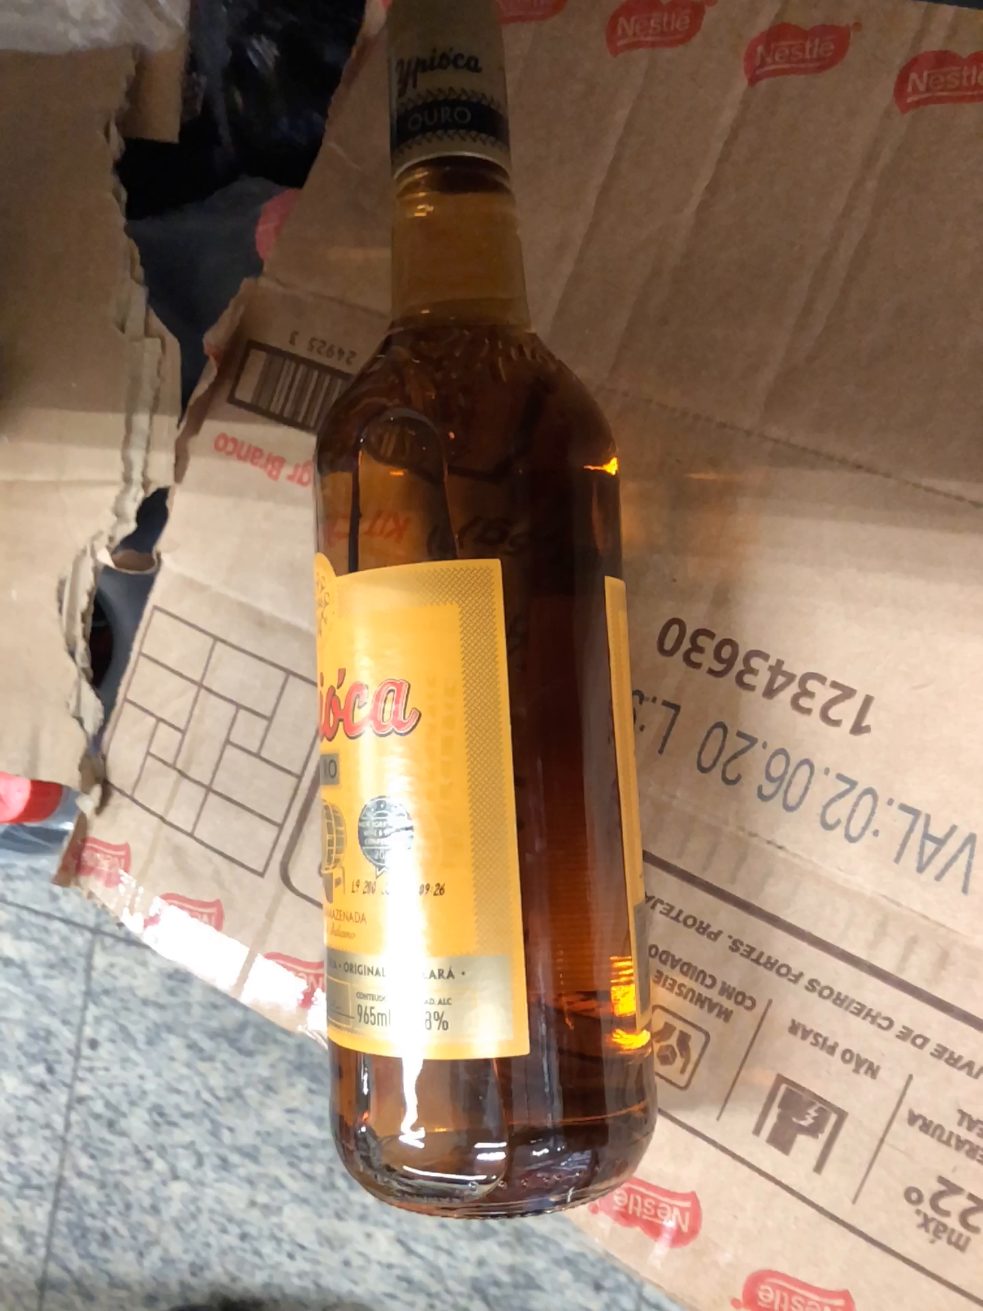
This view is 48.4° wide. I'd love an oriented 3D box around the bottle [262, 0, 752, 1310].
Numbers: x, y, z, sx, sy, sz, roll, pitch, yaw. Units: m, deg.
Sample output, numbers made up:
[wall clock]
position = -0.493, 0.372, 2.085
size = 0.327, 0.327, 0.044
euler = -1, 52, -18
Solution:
[bottle]
position = -0.005, -0.026, 0.268
size = 0.090, 0.080, 0.310
euler = -1, 86, -15
